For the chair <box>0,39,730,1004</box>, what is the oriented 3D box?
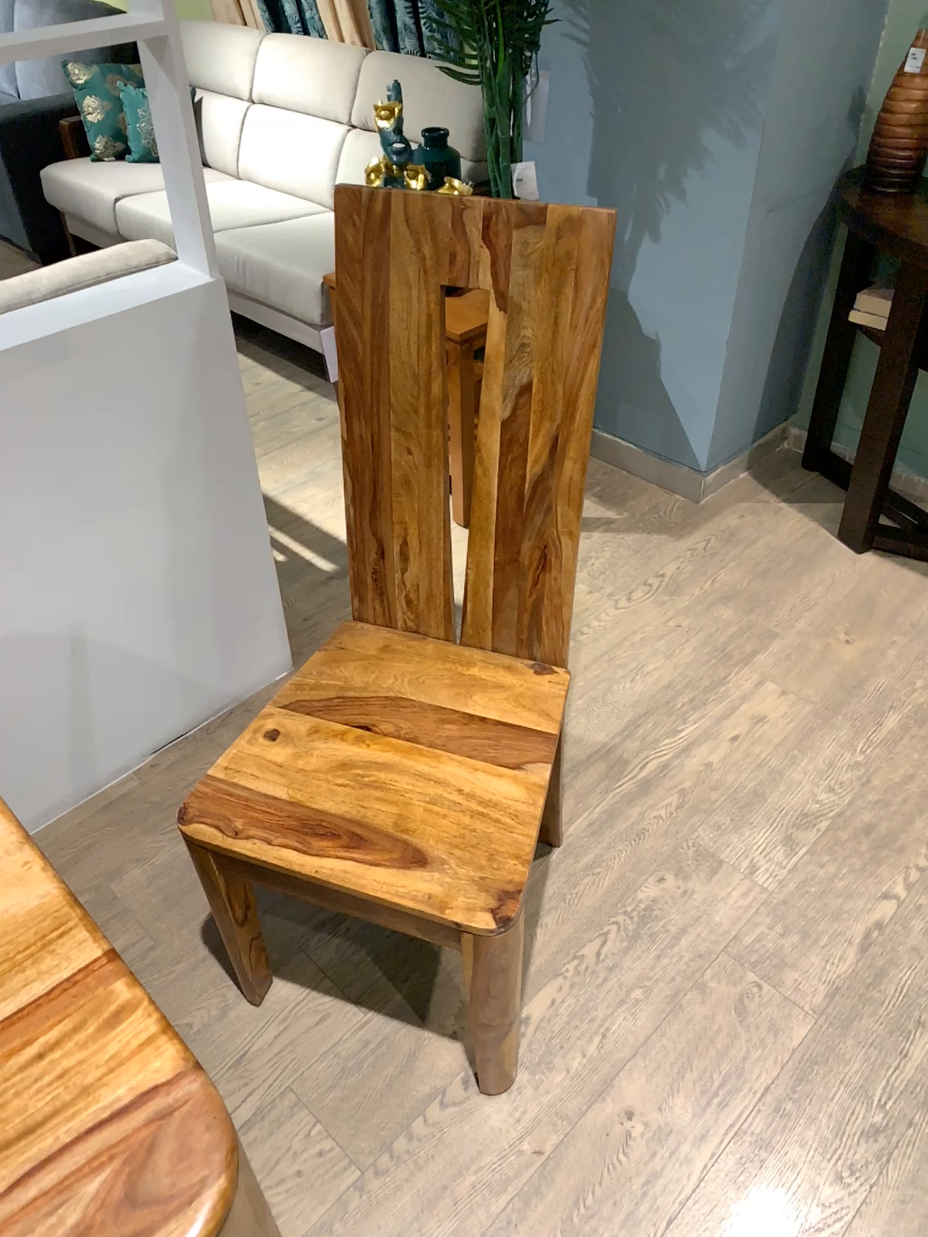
[{"bbox_3d":[-0.048,-0.074,1.182,0.500,0.966,0.602,13,48,14],"label":"chair"}]
